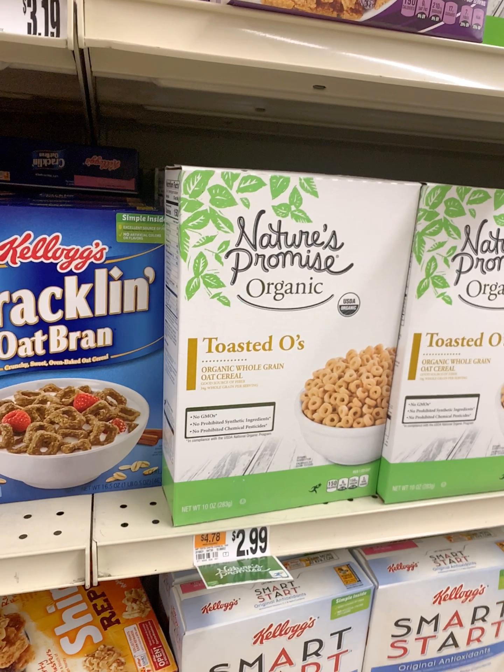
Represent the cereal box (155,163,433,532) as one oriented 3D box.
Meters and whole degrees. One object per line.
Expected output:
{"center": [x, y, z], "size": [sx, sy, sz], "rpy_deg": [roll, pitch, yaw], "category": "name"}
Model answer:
{"center": [0.023, 0.008, 0.422], "size": [0.190, 0.269, 0.070], "rpy_deg": [-2, 18, -19], "category": "cereal box"}
